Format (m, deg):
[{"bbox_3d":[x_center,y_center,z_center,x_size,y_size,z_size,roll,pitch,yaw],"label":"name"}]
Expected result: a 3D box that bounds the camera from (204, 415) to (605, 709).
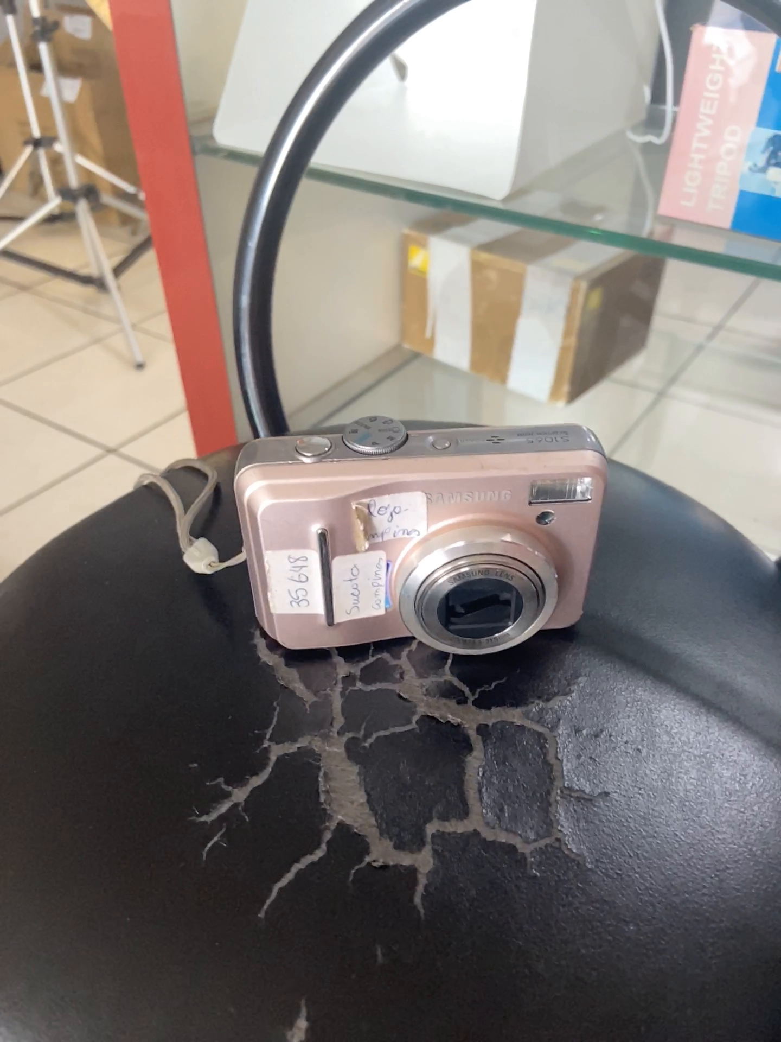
[{"bbox_3d":[0.003,0.012,0.238,0.100,0.070,0.040,-4,37,-4],"label":"camera"}]
